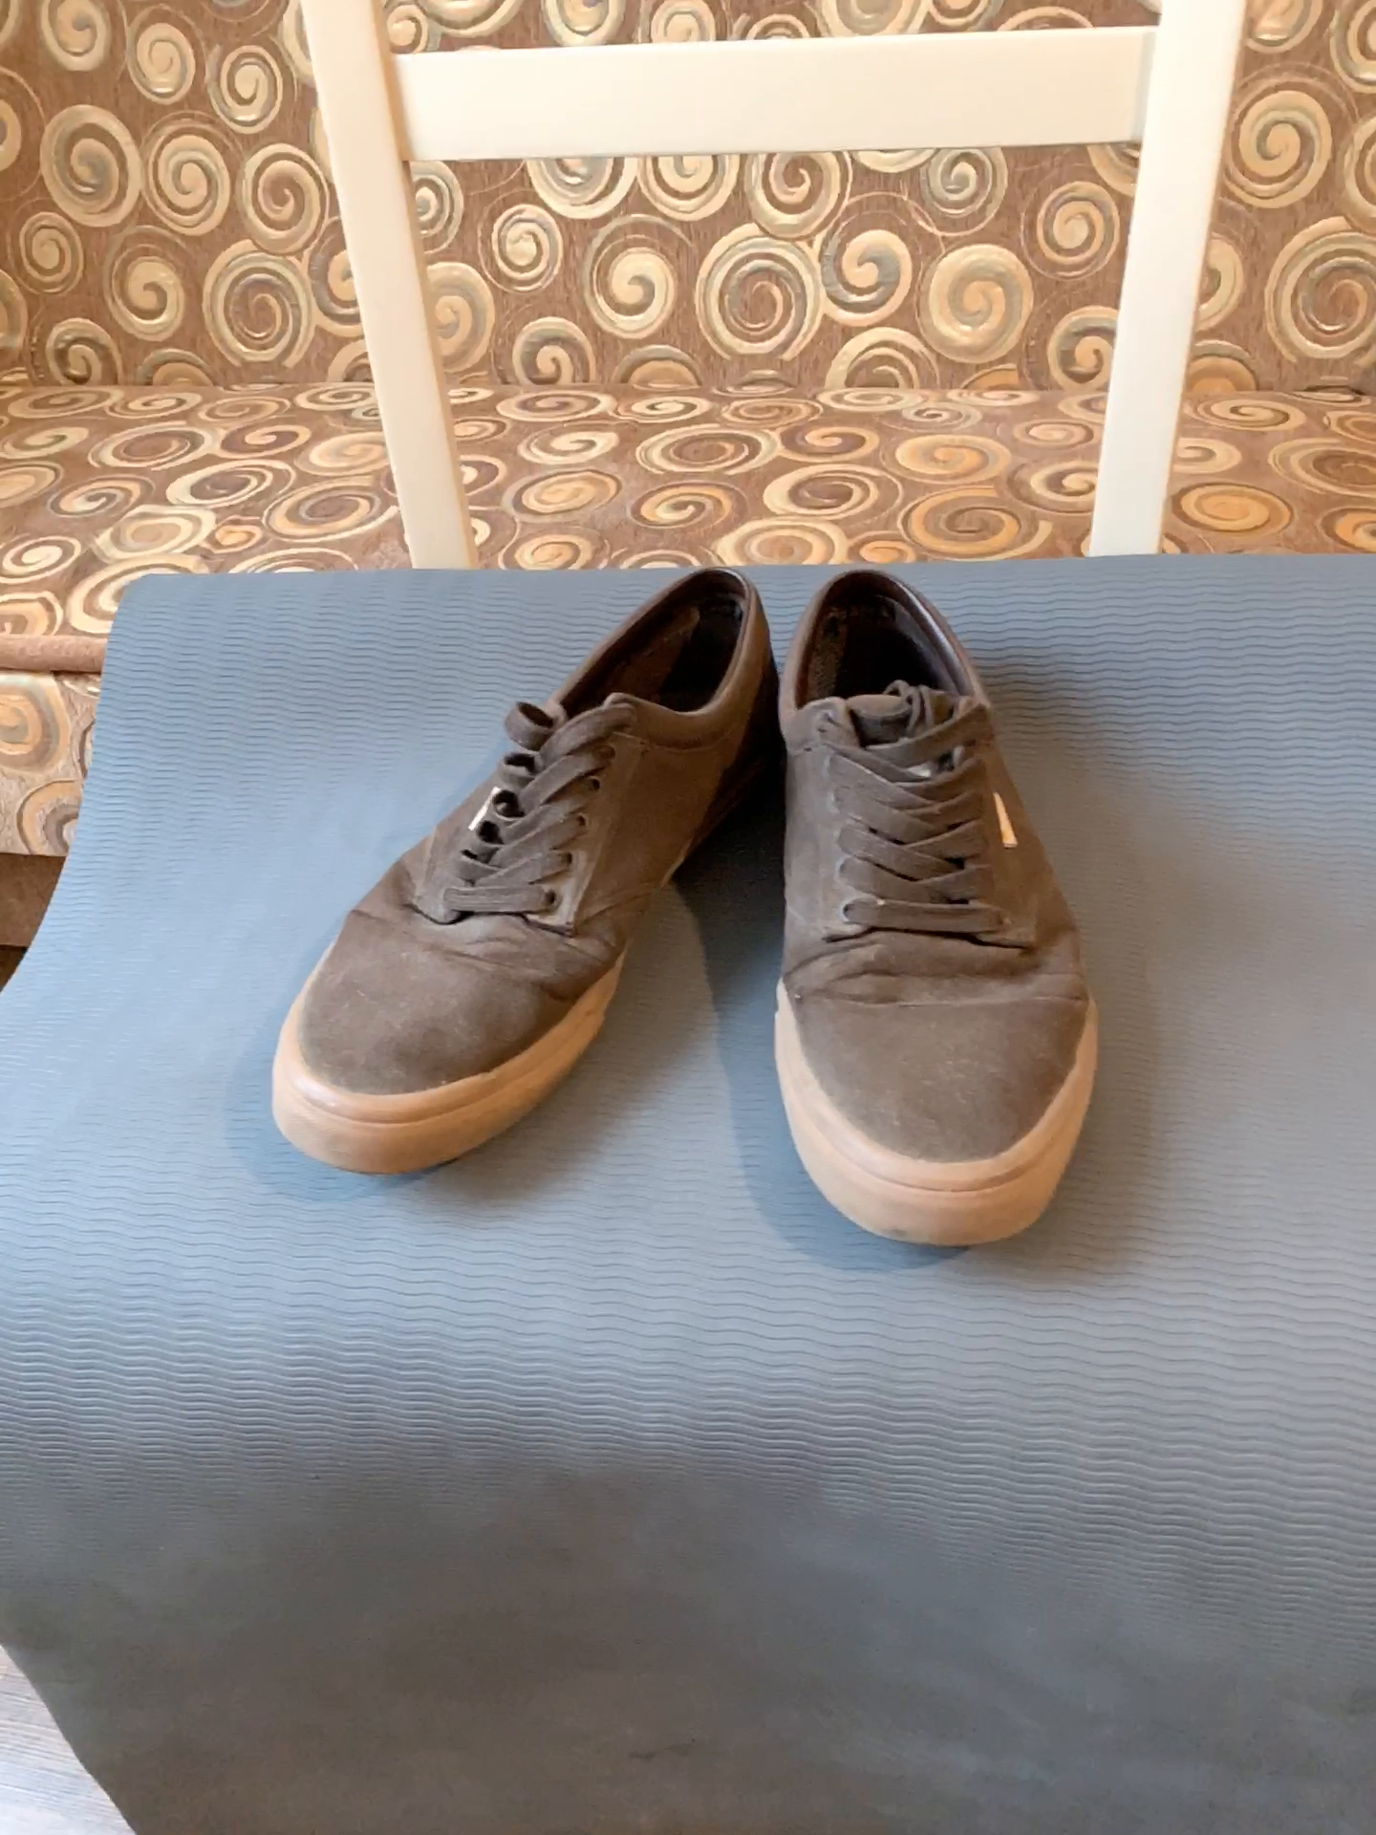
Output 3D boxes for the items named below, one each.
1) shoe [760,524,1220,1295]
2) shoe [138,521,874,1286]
[{"bbox_3d":[0.086,-0.027,0.508,0.110,0.080,0.322,-3,42,3],"label":"shoe"},{"bbox_3d":[-0.041,-0.034,0.547,0.110,0.080,0.341,16,46,22],"label":"shoe"}]
